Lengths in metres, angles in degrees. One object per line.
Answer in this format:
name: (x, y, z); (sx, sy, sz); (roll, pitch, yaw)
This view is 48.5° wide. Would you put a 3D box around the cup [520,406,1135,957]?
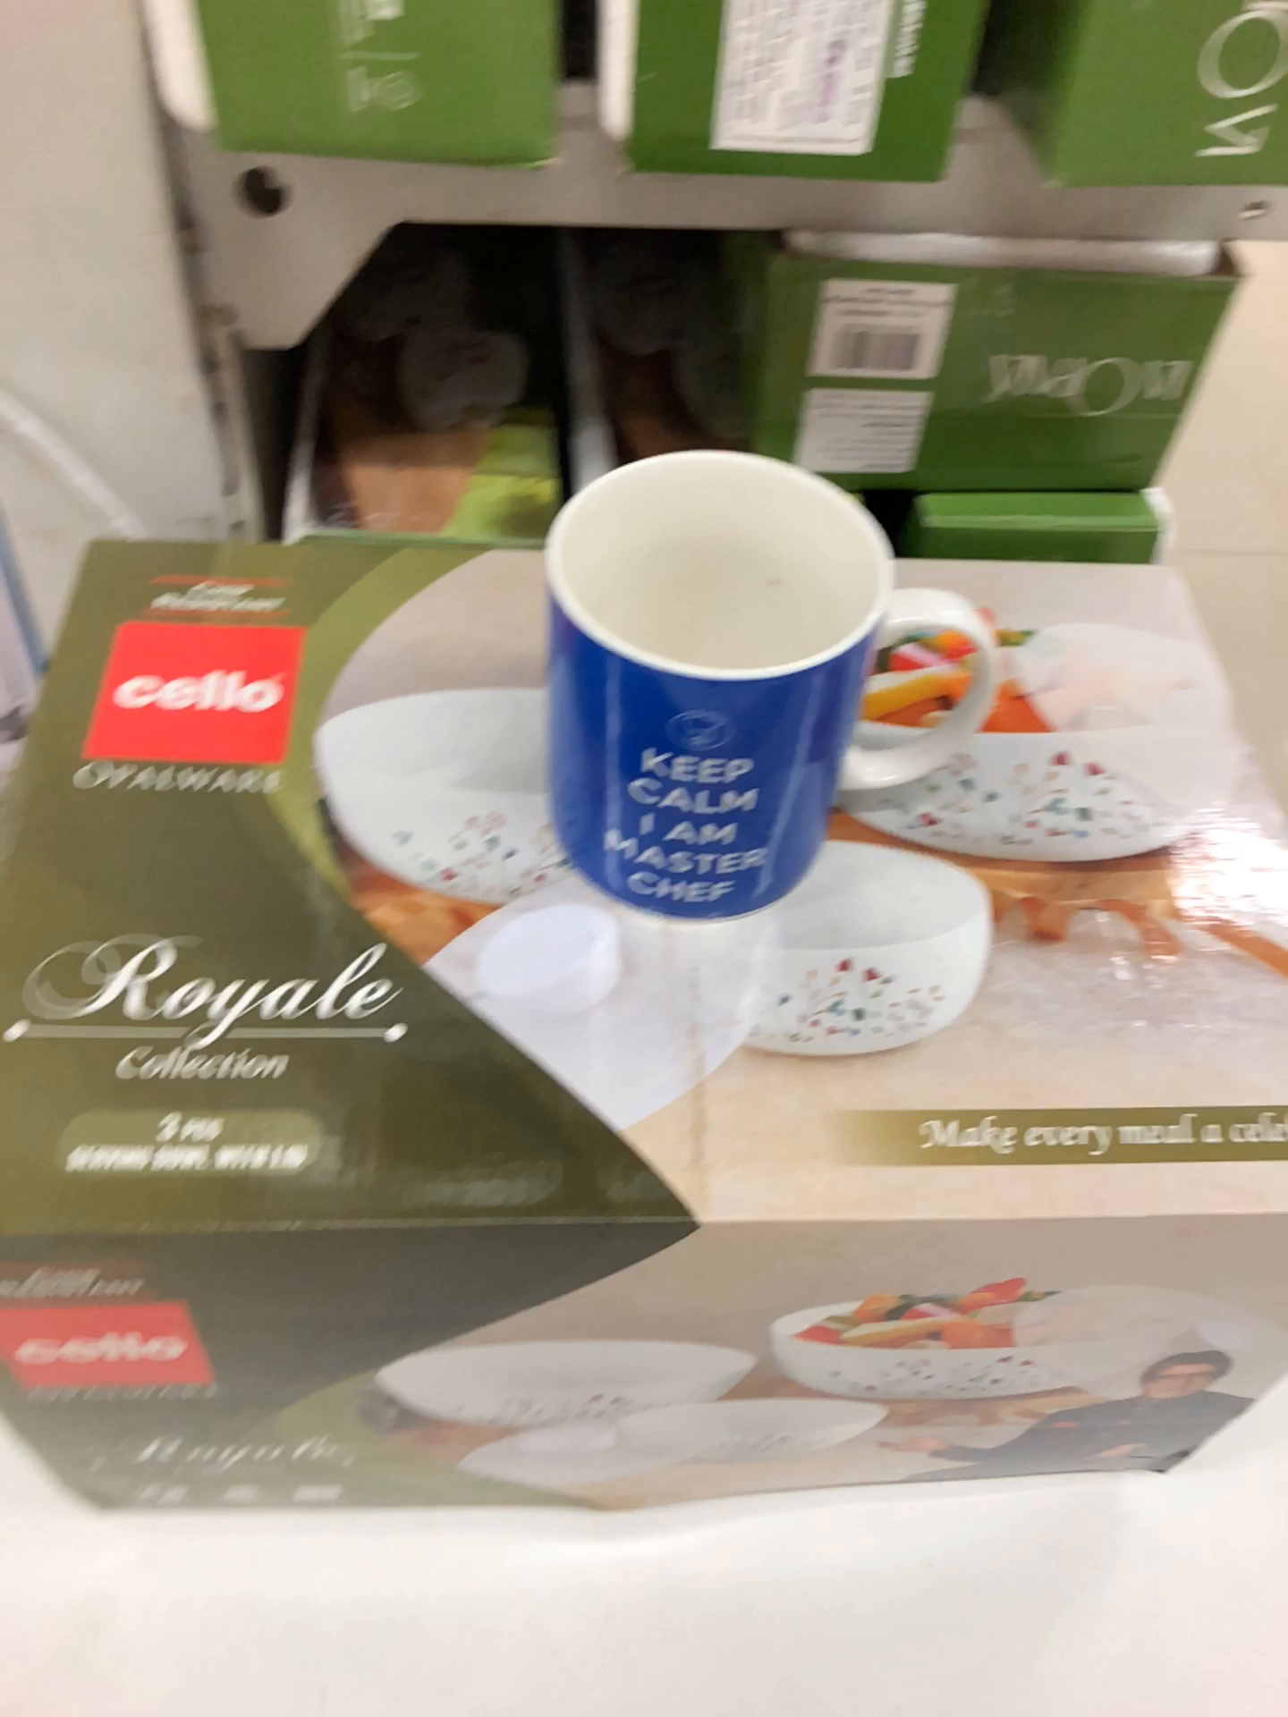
cup: (0.037, -0.048, 0.395); (0.140, 0.099, 0.111); (1, 49, -5)
